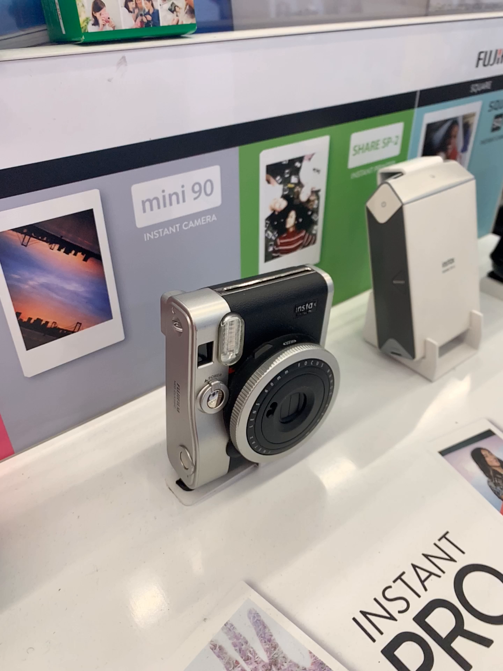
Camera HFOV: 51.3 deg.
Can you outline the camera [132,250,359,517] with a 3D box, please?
[{"bbox_3d":[-0.005,0.023,0.284,0.100,0.109,0.050,-17,38,-30],"label":"camera"}]
